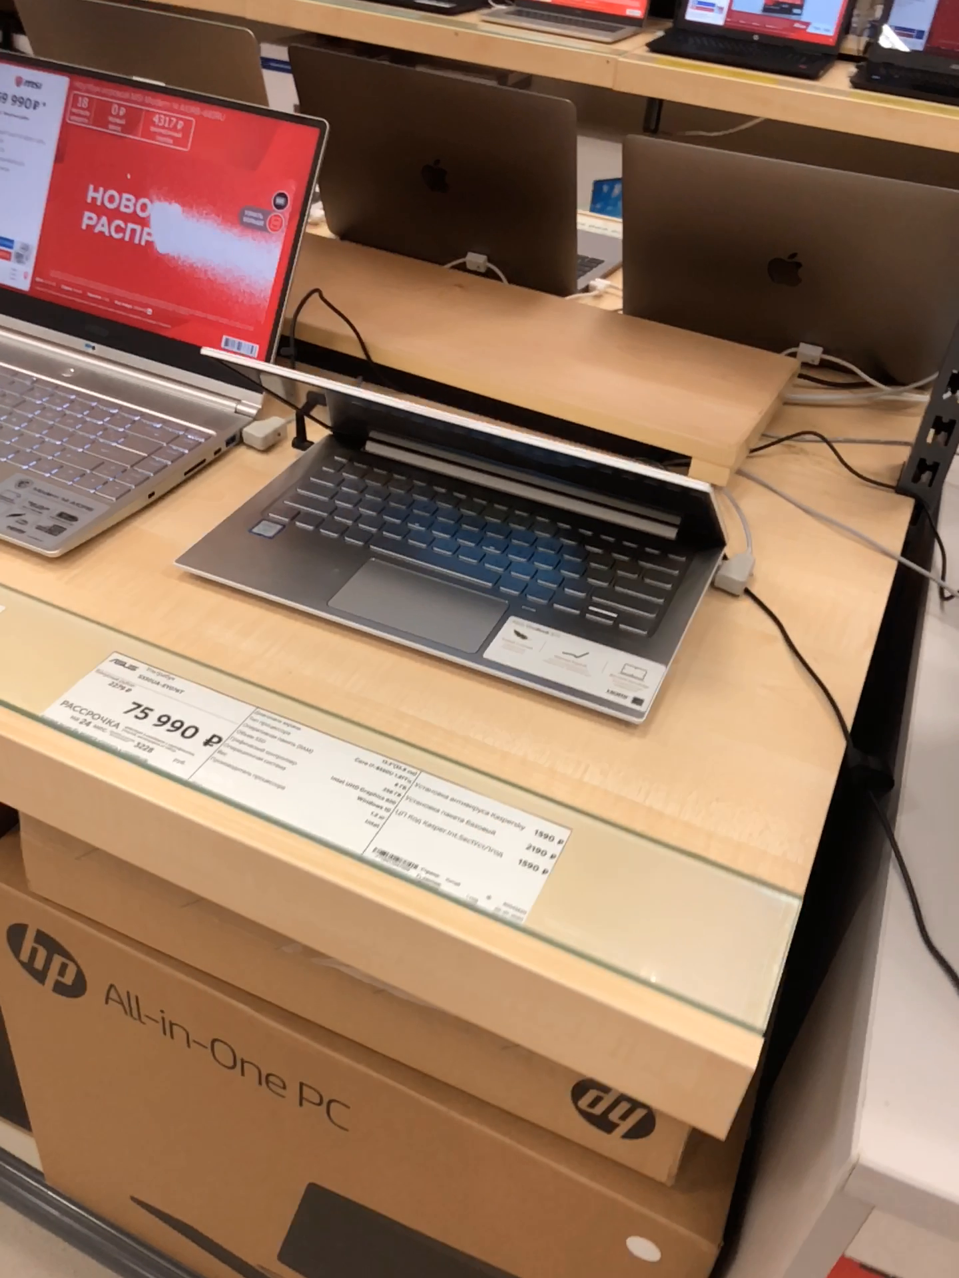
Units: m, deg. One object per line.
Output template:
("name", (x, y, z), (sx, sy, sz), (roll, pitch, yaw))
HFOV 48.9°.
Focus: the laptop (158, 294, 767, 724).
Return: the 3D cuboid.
("laptop", (-0.008, -0.099, 0.659), (0.309, 0.119, 0.197), (18, 38, 17))
